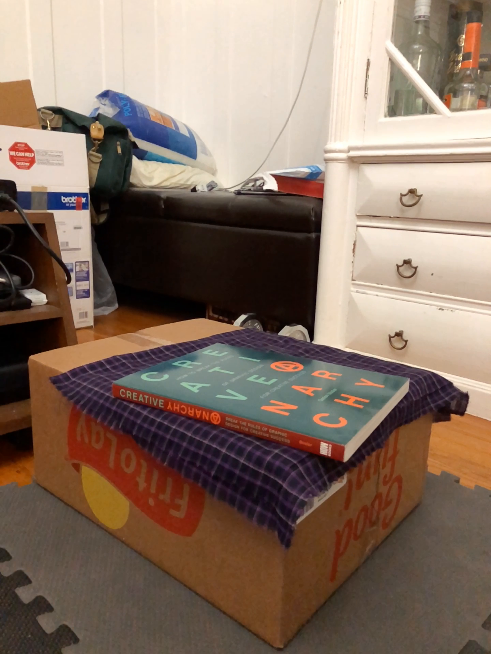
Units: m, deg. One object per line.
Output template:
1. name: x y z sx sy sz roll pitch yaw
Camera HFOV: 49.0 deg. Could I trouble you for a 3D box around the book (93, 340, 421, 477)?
1. book: 0.019 0.071 0.608 0.300 0.020 0.221 10 16 29
